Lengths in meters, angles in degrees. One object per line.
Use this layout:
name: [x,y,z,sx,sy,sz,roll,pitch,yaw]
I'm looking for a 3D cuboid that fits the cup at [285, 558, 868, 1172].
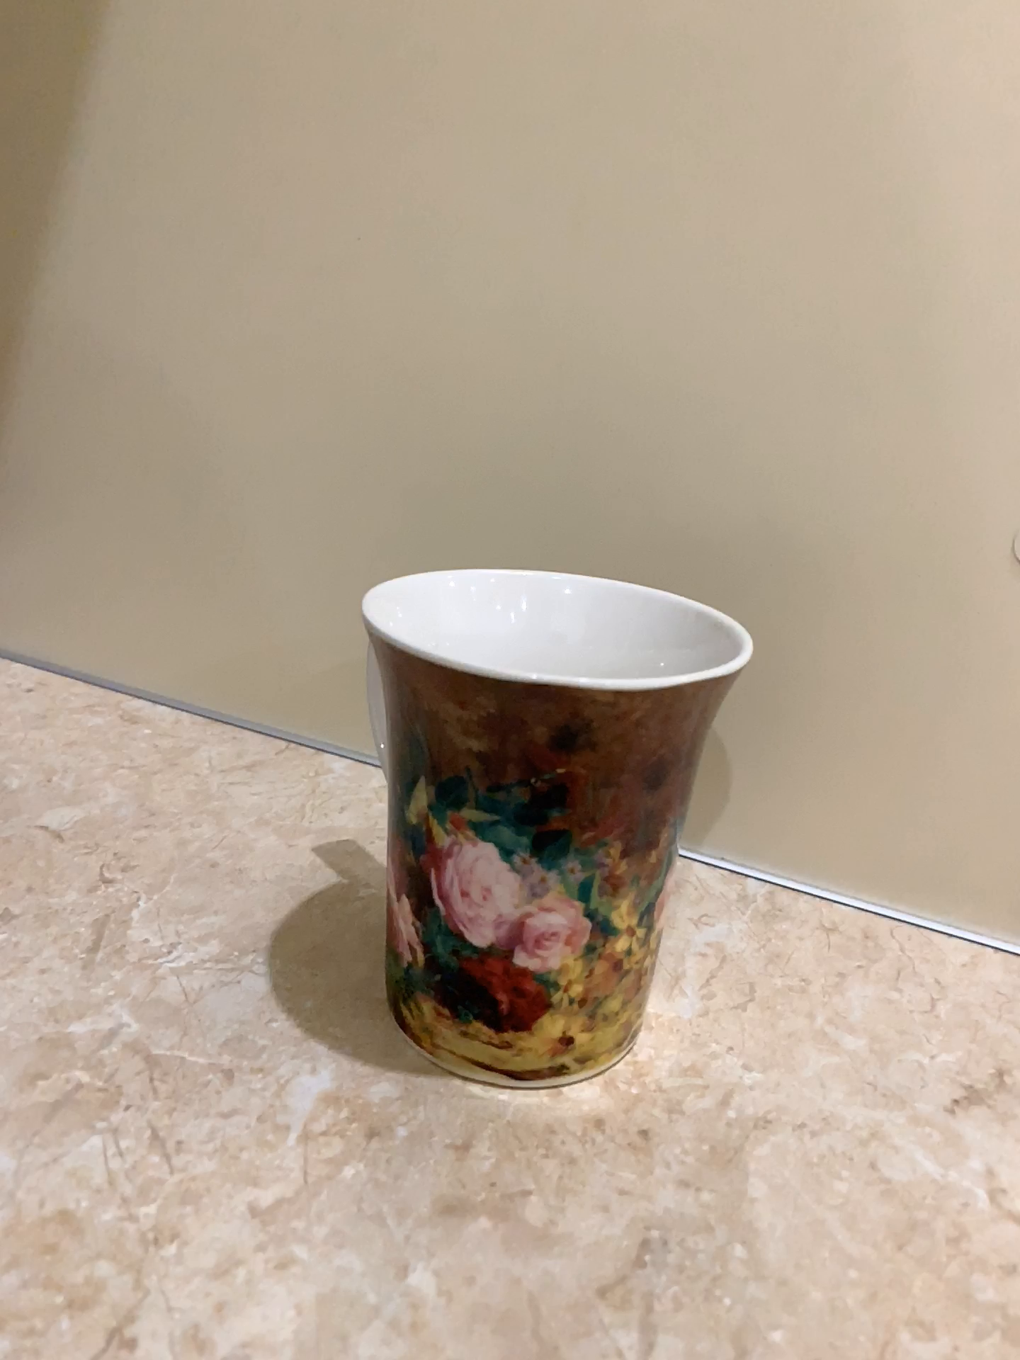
cup: [0.005,0.031,0.255,0.094,0.096,0.102,5,19,-2]
